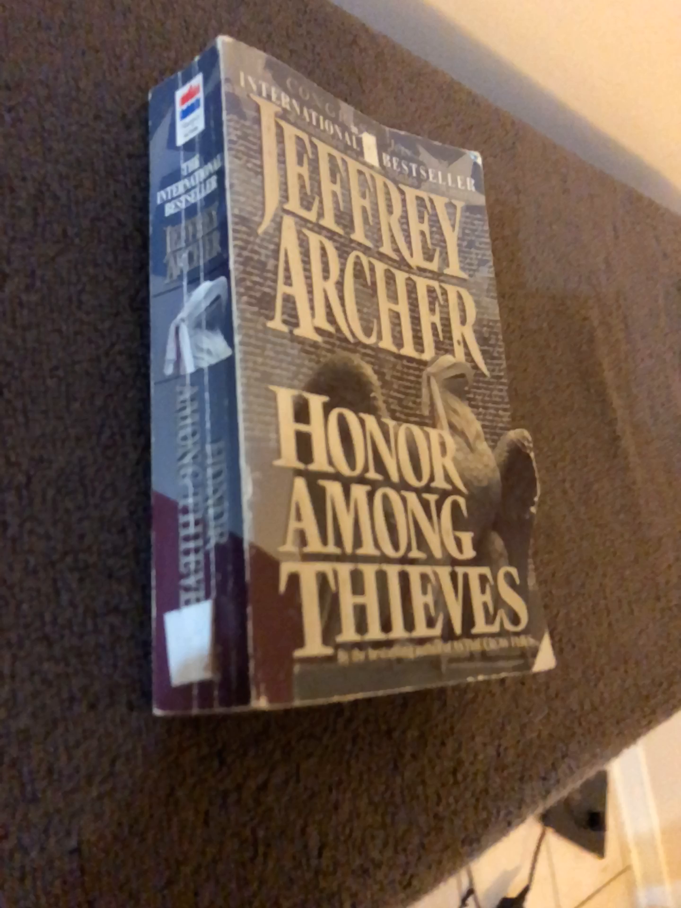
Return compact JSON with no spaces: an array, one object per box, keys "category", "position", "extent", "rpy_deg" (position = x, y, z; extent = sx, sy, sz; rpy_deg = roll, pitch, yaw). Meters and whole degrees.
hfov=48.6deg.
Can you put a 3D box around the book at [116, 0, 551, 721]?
[{"category":"book","position":[-0.001,-0.028,0.222],"extent":[0.121,0.040,0.190],"rpy_deg":[11,67,-44]}]
